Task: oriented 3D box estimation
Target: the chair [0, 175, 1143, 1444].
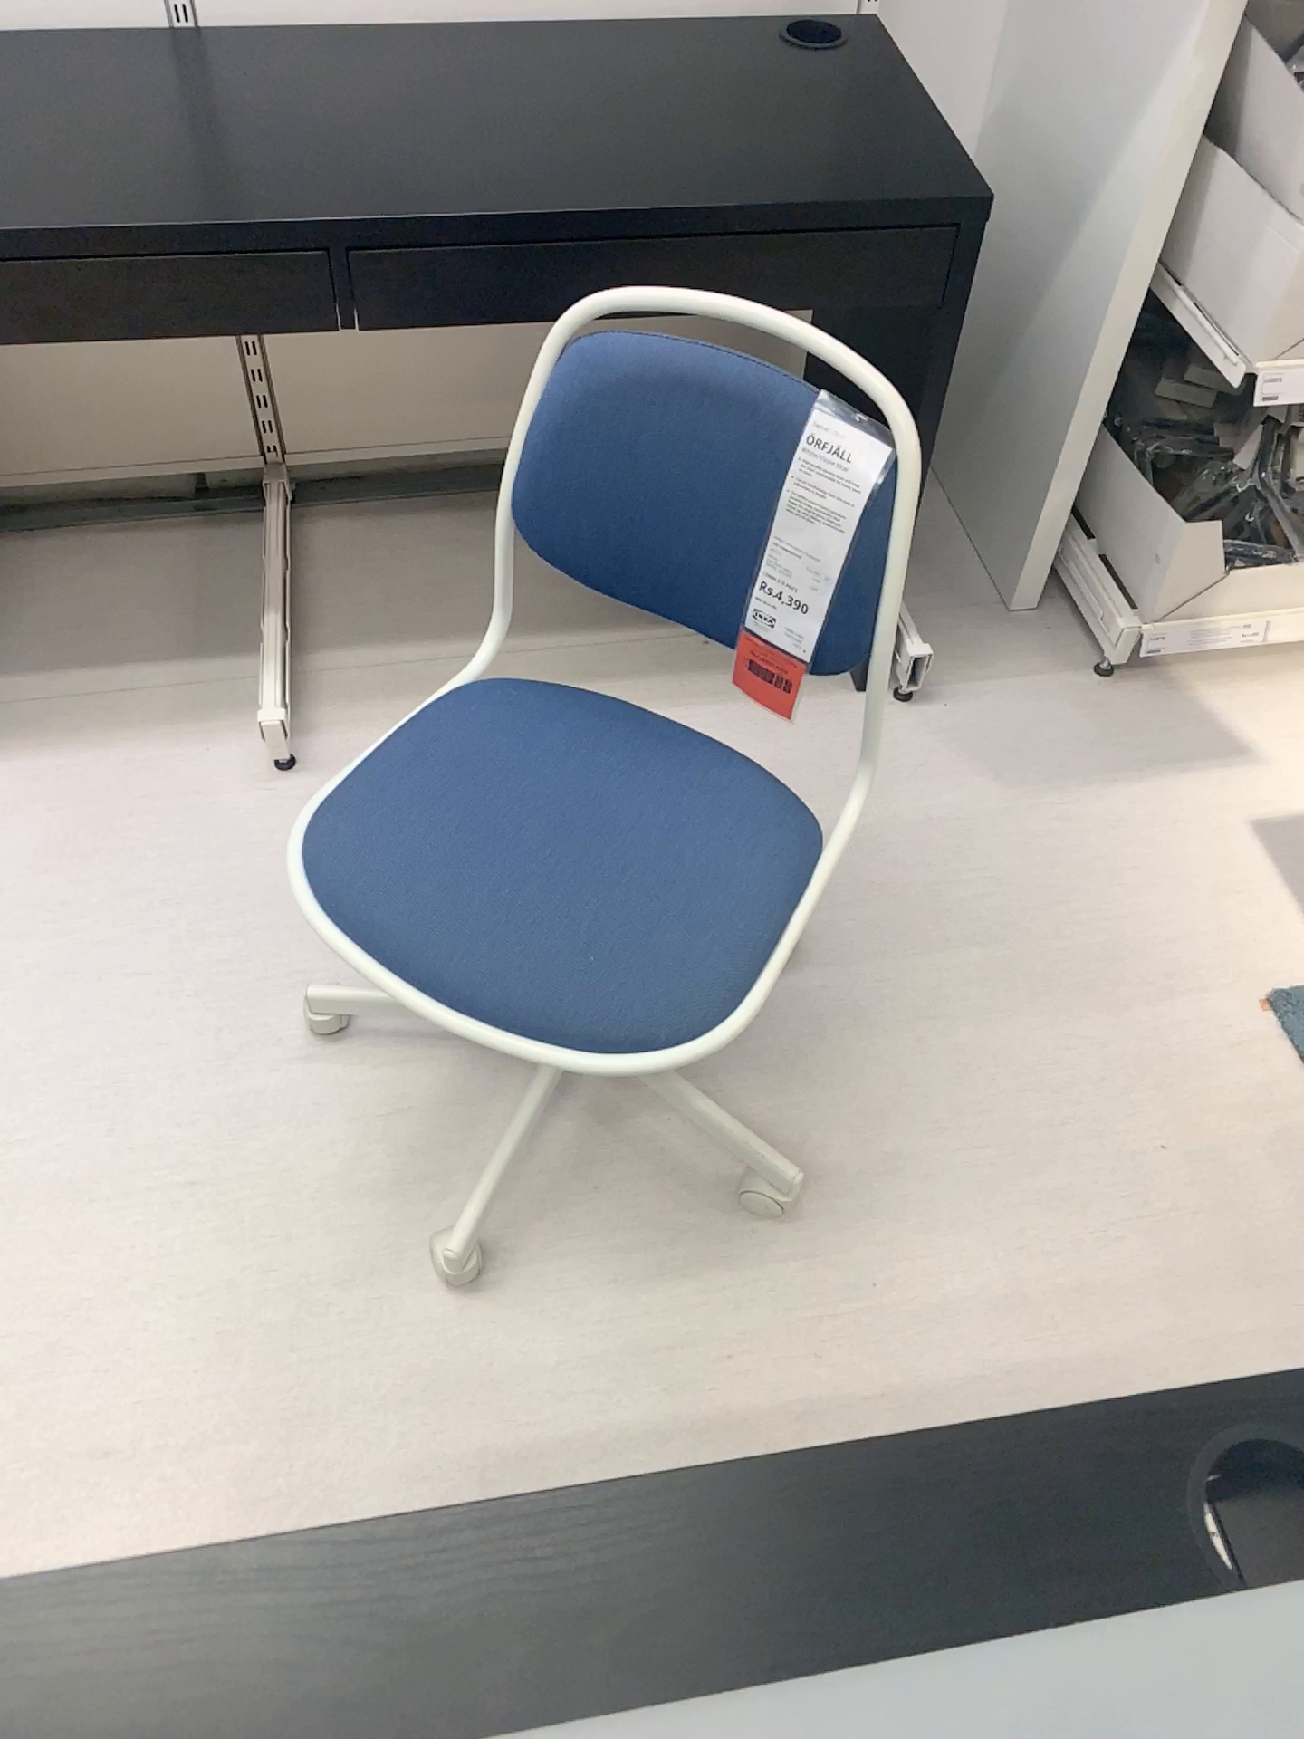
[{"bbox_3d":[-0.078,-0.031,1.216,0.641,0.798,0.601,25,54,17],"label":"chair"}]
